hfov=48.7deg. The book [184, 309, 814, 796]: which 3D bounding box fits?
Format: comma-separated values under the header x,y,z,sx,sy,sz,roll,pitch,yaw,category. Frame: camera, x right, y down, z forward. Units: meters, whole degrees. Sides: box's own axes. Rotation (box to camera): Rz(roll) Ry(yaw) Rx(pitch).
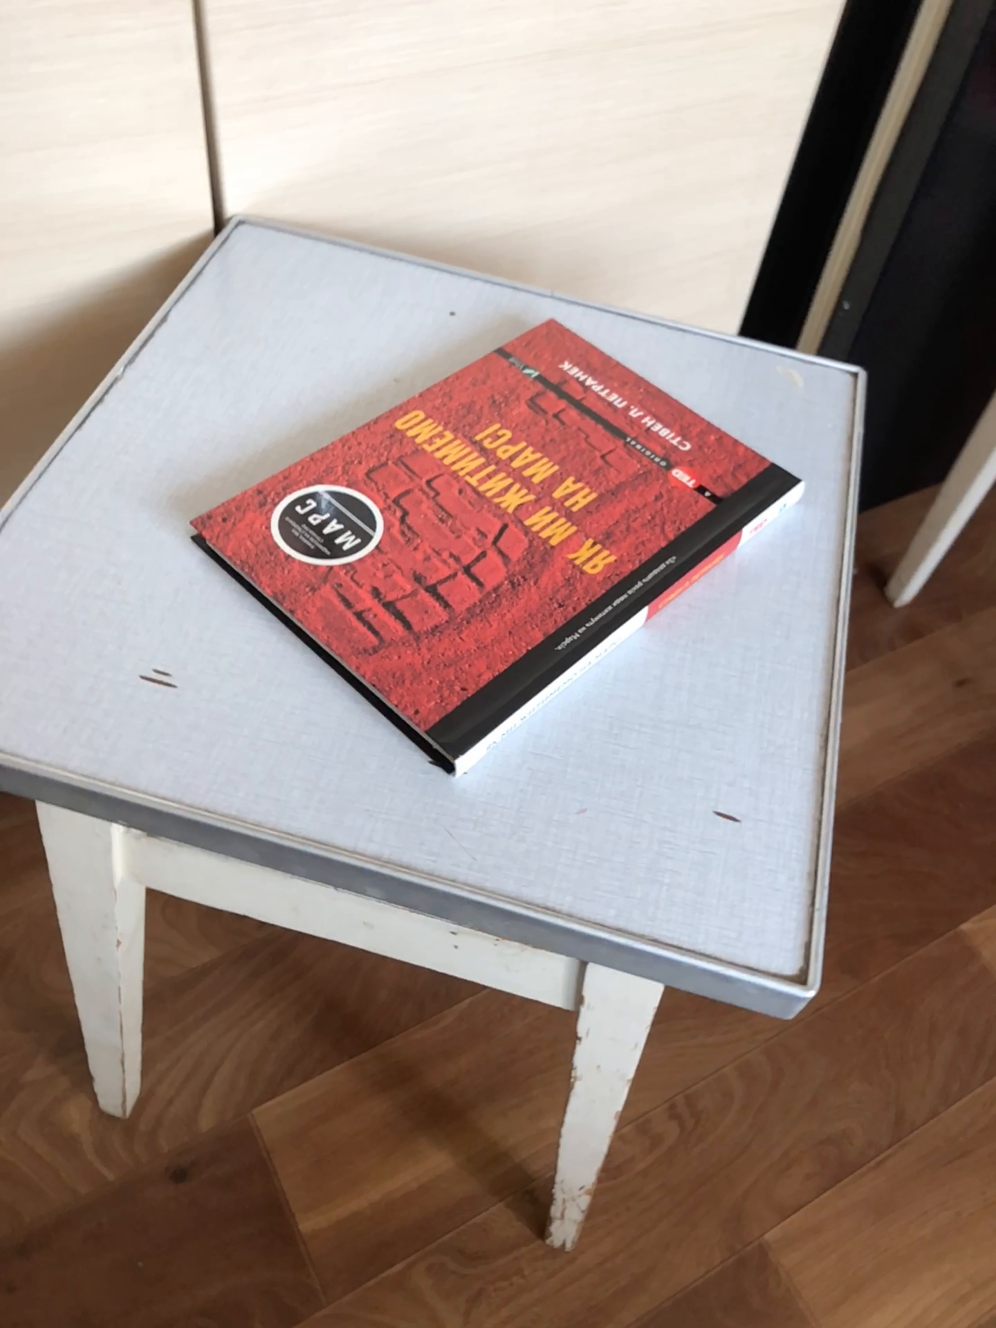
x,y,z,sx,sy,sz,roll,pitch,yaw,category
0.006,-0.061,0.447,0.150,0.020,0.209,40,58,21,book
